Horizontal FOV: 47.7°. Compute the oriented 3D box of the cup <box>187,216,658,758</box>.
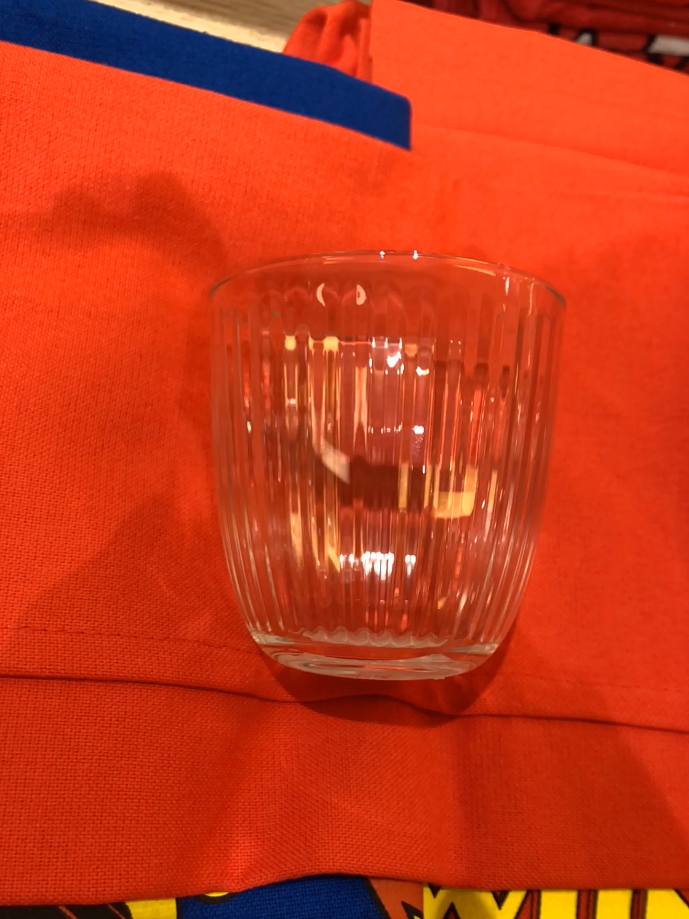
[{"bbox_3d":[0.012,0.007,0.169,0.080,0.060,0.090,4,88,-15],"label":"cup"}]
